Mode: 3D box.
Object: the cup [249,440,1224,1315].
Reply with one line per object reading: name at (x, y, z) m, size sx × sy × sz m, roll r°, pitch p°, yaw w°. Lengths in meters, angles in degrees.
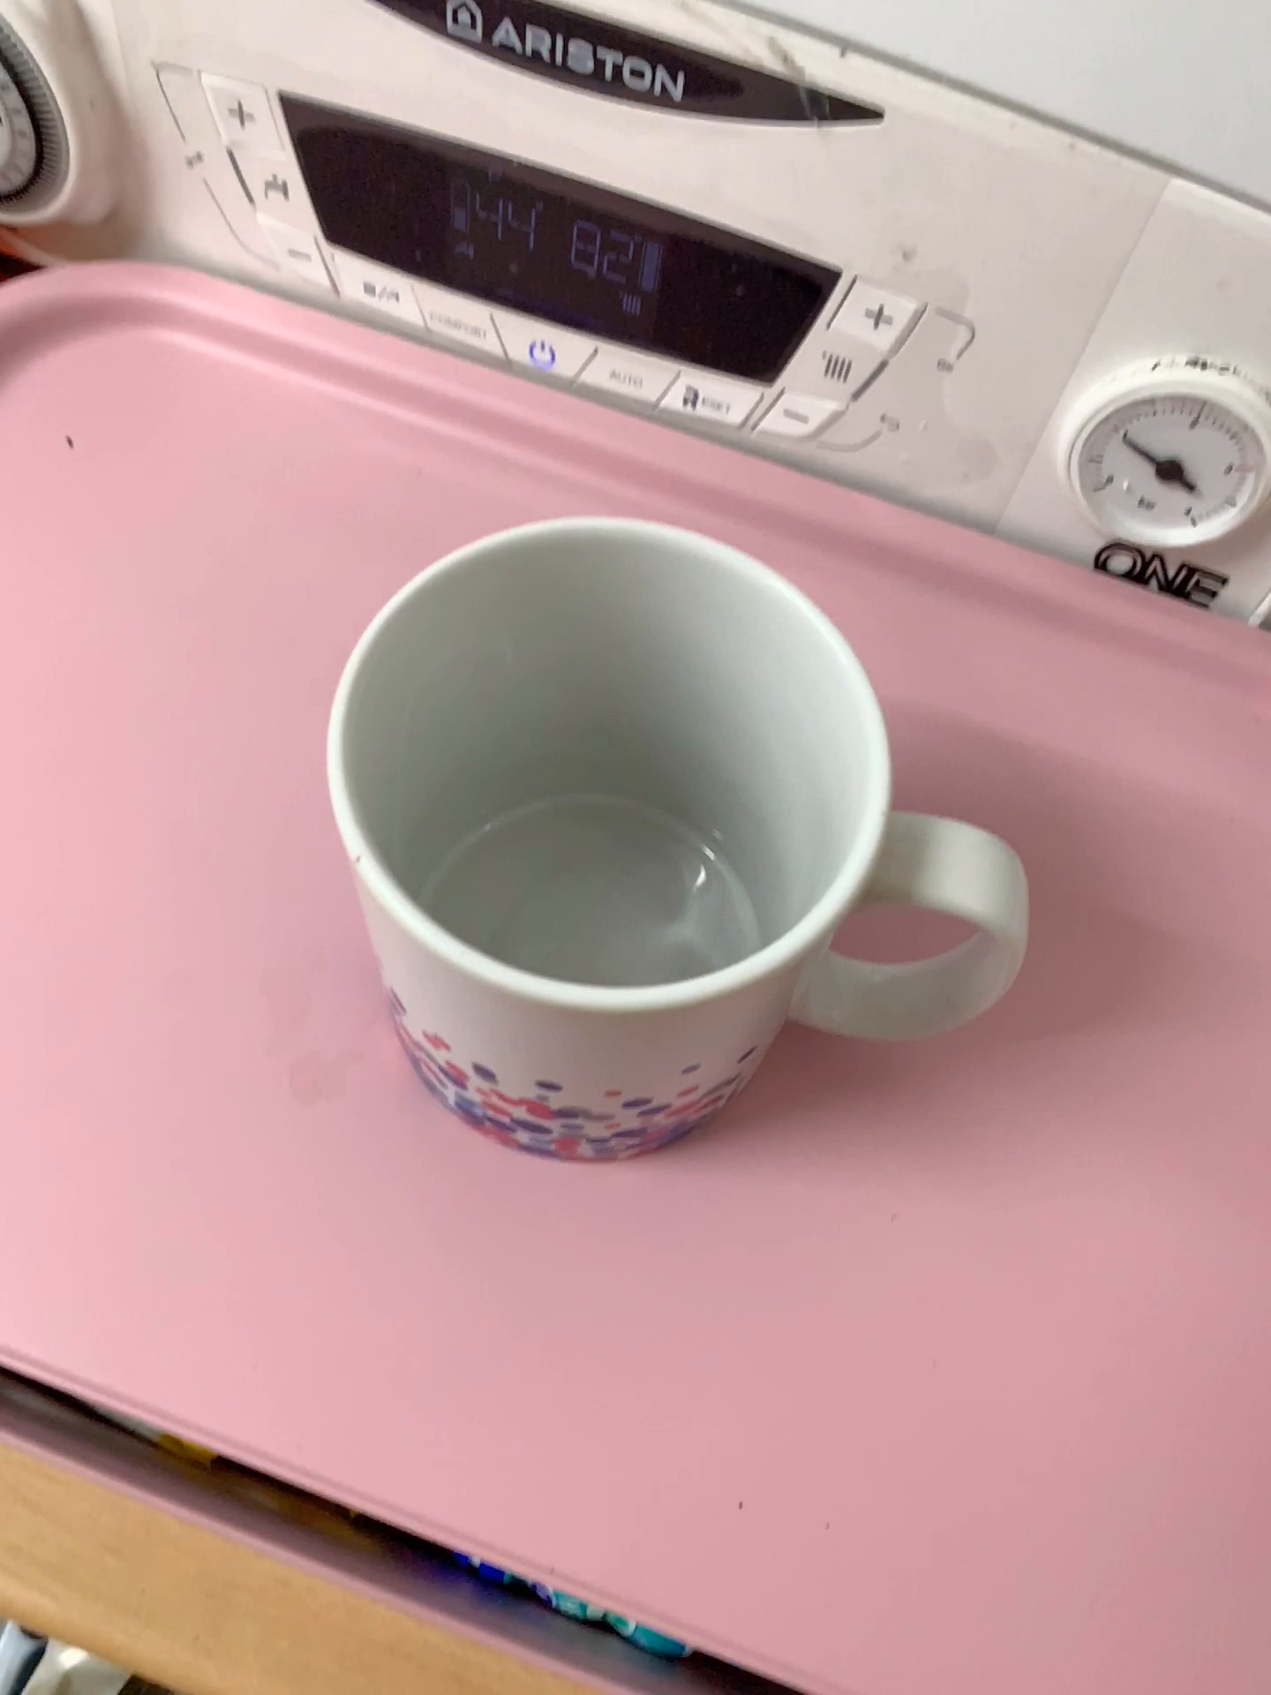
cup at (0.015, 0.010, 0.218) m, size 0.120 × 0.089 × 0.081 m, roll 17°, pitch 58°, yaw 2°
